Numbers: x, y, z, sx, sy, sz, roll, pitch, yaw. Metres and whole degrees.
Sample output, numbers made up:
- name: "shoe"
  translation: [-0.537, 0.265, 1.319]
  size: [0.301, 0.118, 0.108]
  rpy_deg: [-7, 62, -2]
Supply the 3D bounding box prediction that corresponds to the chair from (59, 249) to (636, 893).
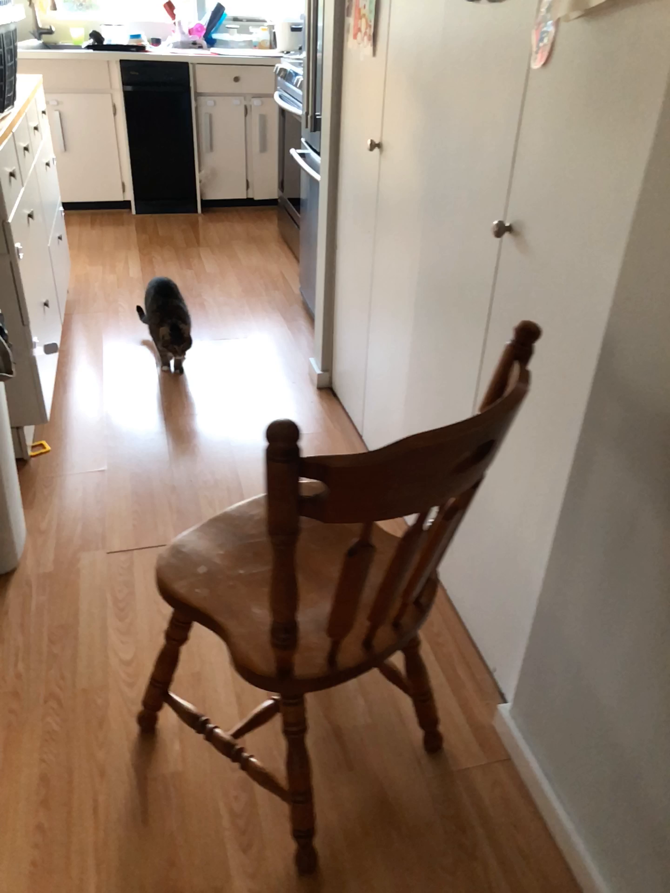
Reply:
- name: "chair"
  translation: [-0.001, 0.192, 1.251]
  size: [0.561, 0.817, 0.591]
  rpy_deg: [-26, 42, -37]
